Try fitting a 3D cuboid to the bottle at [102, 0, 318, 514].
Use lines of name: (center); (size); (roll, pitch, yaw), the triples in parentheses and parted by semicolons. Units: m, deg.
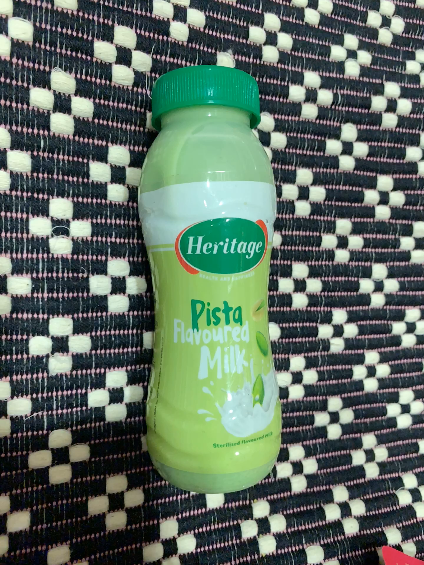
bottle: (-0.004, -0.013, 0.154); (0.050, 0.050, 0.150); (-4, 91, -24)
